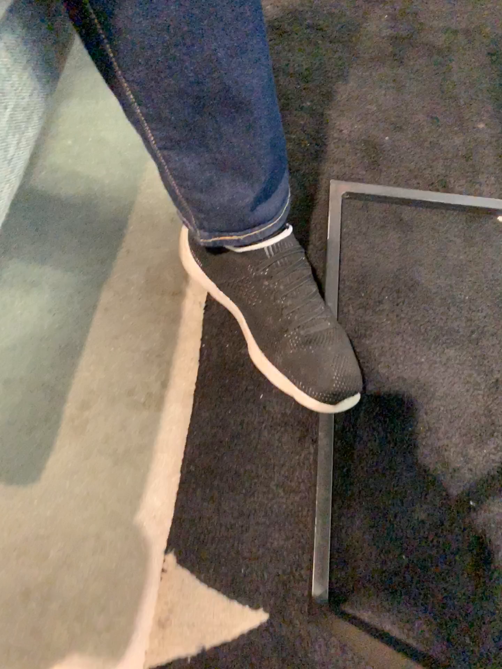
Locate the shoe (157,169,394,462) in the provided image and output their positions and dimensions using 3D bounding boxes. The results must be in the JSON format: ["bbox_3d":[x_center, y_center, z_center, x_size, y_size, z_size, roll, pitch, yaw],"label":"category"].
[{"bbox_3d":[0.015,-0.029,0.566,0.116,0.074,0.304,-25,71,-13],"label":"shoe"}]
